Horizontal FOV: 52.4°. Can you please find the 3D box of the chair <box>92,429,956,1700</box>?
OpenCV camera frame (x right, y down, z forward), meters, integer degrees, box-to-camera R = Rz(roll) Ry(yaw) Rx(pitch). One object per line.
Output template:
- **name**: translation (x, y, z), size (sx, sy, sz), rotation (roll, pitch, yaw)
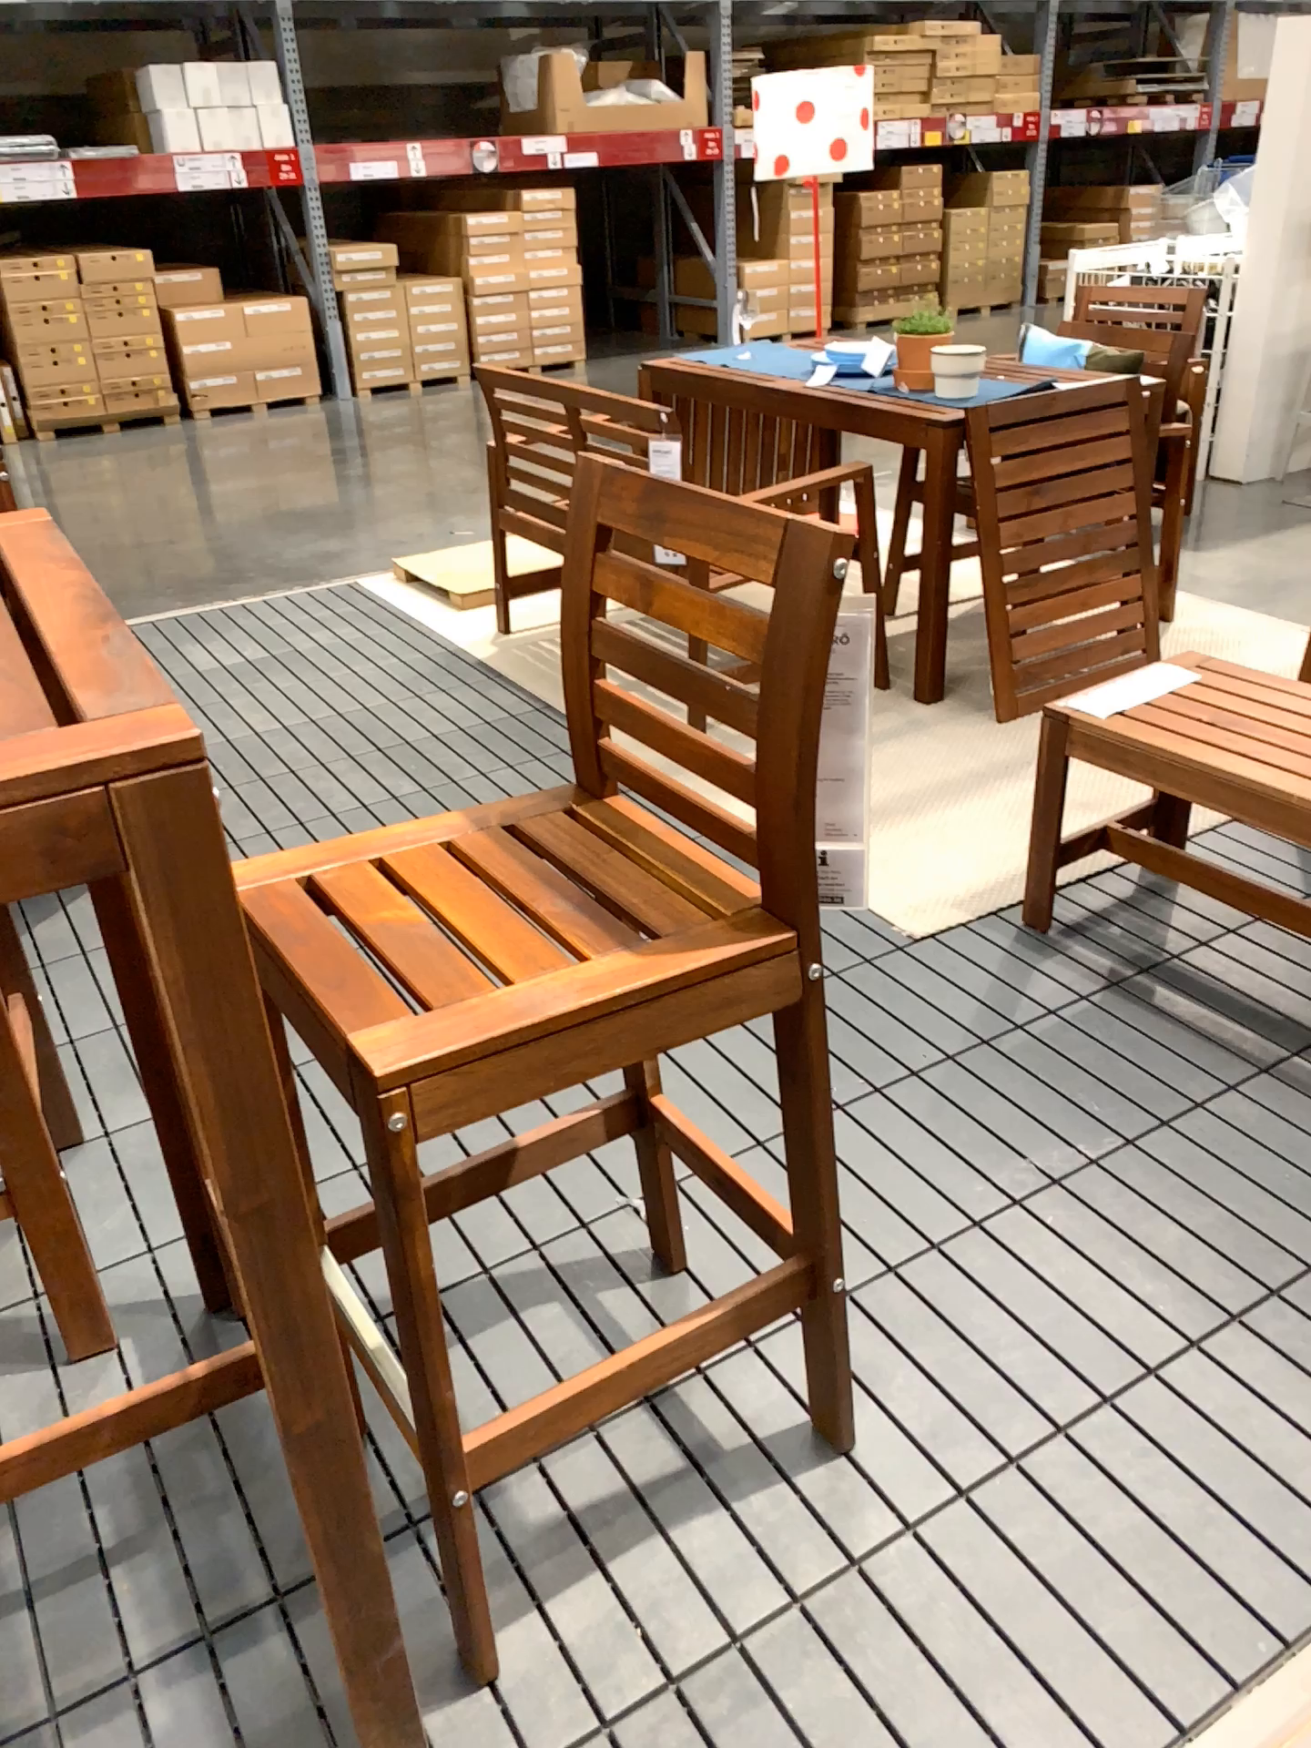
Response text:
- **chair**: translation (-0.126, 0.173, 1.502), size (0.601, 1.144, 0.593), rotation (-18, 32, -26)
